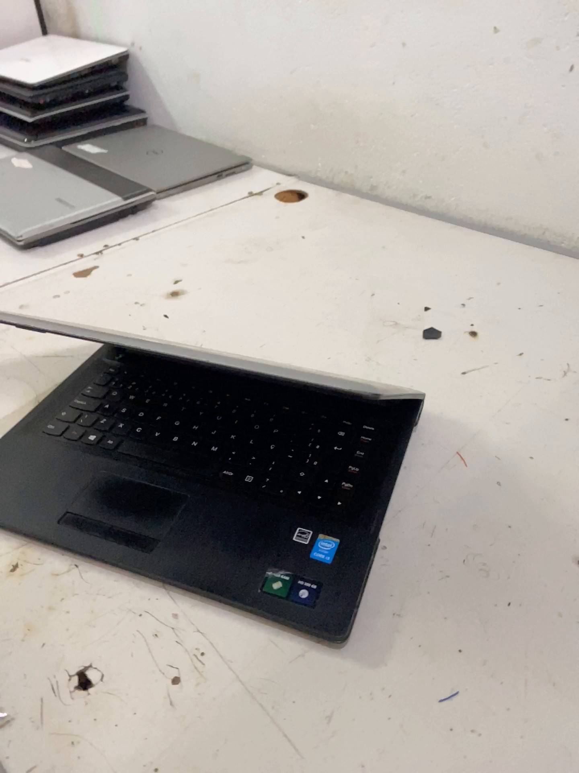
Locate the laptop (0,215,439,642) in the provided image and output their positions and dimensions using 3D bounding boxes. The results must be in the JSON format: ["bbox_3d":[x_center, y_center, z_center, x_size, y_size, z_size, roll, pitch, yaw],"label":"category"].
[{"bbox_3d":[-0.085,-0.002,0.477,0.344,0.148,0.246,11,41,19],"label":"laptop"}]
